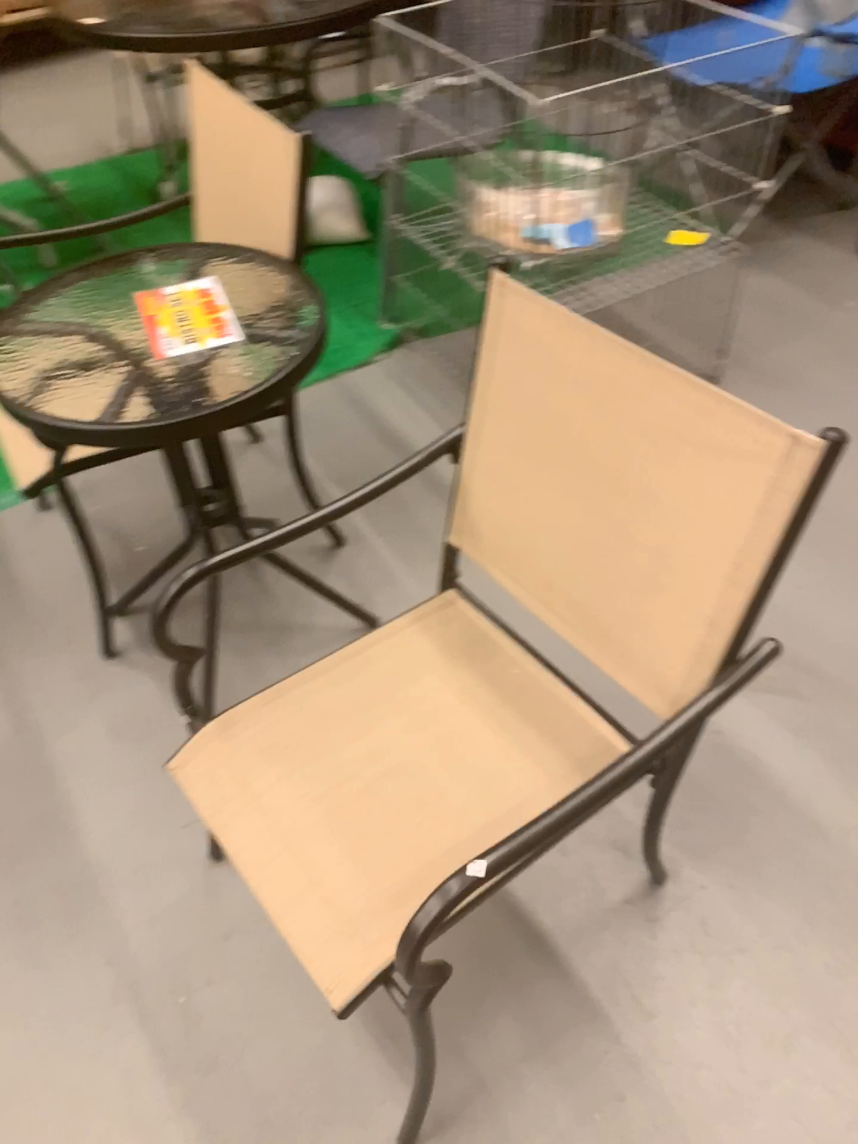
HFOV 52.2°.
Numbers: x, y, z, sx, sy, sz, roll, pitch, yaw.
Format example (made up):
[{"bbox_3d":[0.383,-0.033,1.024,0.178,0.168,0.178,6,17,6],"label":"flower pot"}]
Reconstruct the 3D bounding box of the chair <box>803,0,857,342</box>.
[{"bbox_3d":[1.925,-1.483,2.460,1.267,1.072,0.737,-26,51,-20],"label":"chair"}]

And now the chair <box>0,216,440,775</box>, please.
[{"bbox_3d":[-0.365,-0.141,1.530,0.546,0.634,0.526,-27,51,-21],"label":"chair"}]

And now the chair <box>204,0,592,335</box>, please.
[{"bbox_3d":[-0.072,-1.332,2.428,0.676,0.952,0.666,-27,51,-21],"label":"chair"}]

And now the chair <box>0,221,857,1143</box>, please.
[{"bbox_3d":[0.009,0.172,1.098,0.616,0.863,0.576,-32,53,-24],"label":"chair"}]

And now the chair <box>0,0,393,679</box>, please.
[{"bbox_3d":[-0.549,-0.435,1.656,0.676,0.922,0.616,-27,51,-21],"label":"chair"}]

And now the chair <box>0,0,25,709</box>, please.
[{"bbox_3d":[-1.624,-0.523,1.782,1.026,0.982,0.807,-26,51,-20],"label":"chair"}]
